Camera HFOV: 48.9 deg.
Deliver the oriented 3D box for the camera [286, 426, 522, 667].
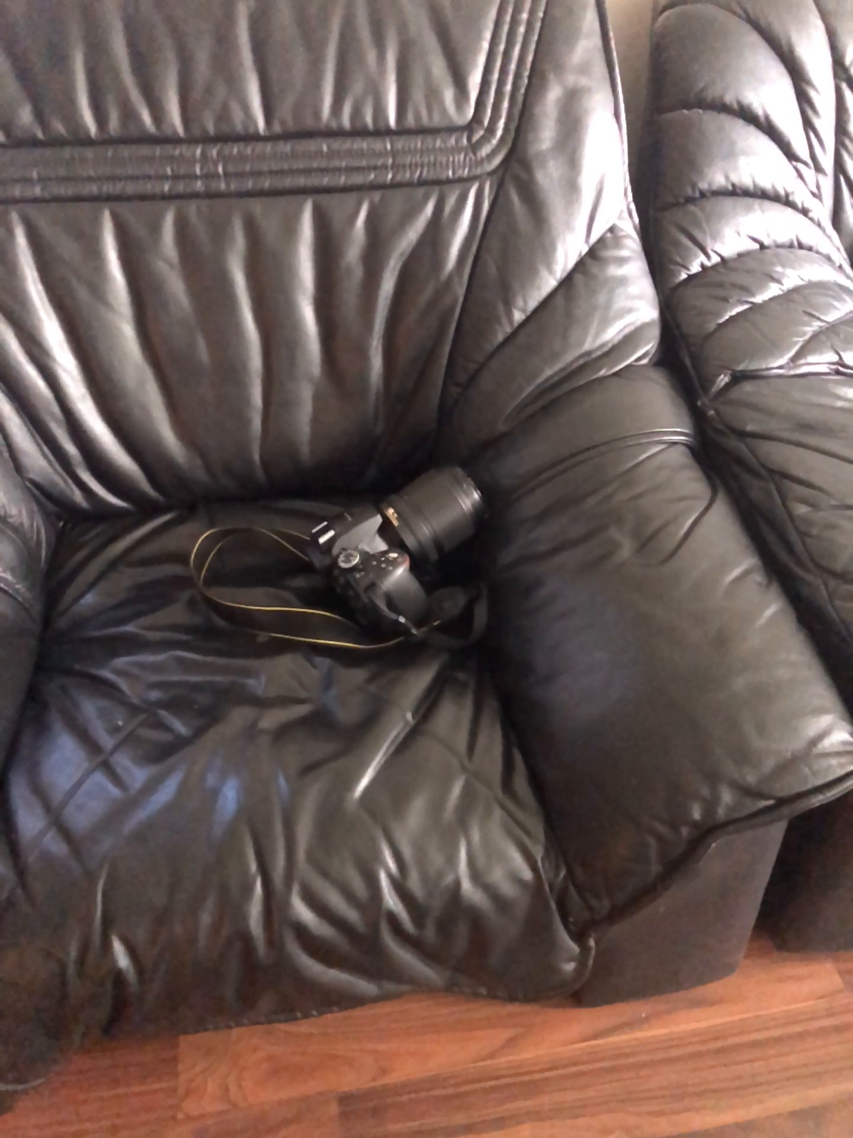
[{"bbox_3d":[-0.022,-0.025,0.984,0.170,0.130,0.140,-35,48,-9],"label":"camera"}]
